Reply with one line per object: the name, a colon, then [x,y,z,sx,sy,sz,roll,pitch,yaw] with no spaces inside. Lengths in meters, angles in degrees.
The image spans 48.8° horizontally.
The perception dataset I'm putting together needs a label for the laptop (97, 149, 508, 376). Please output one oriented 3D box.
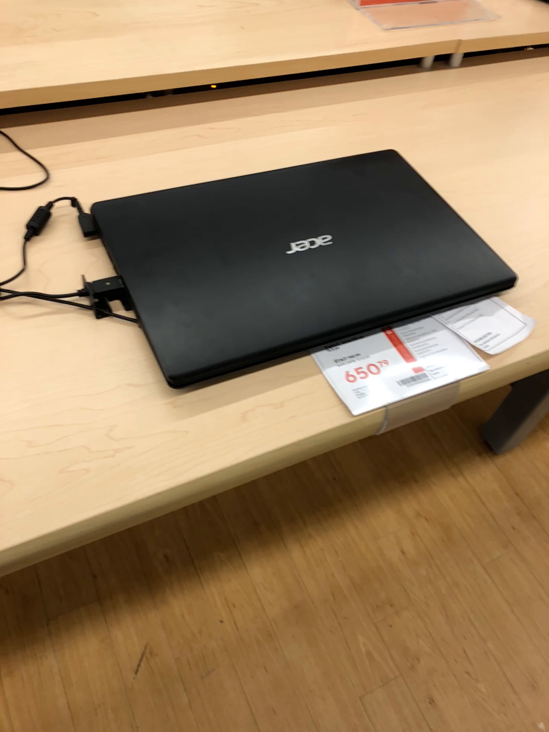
laptop: [0.031,-0.122,0.581,0.347,0.003,0.212,-17,57,-22]
